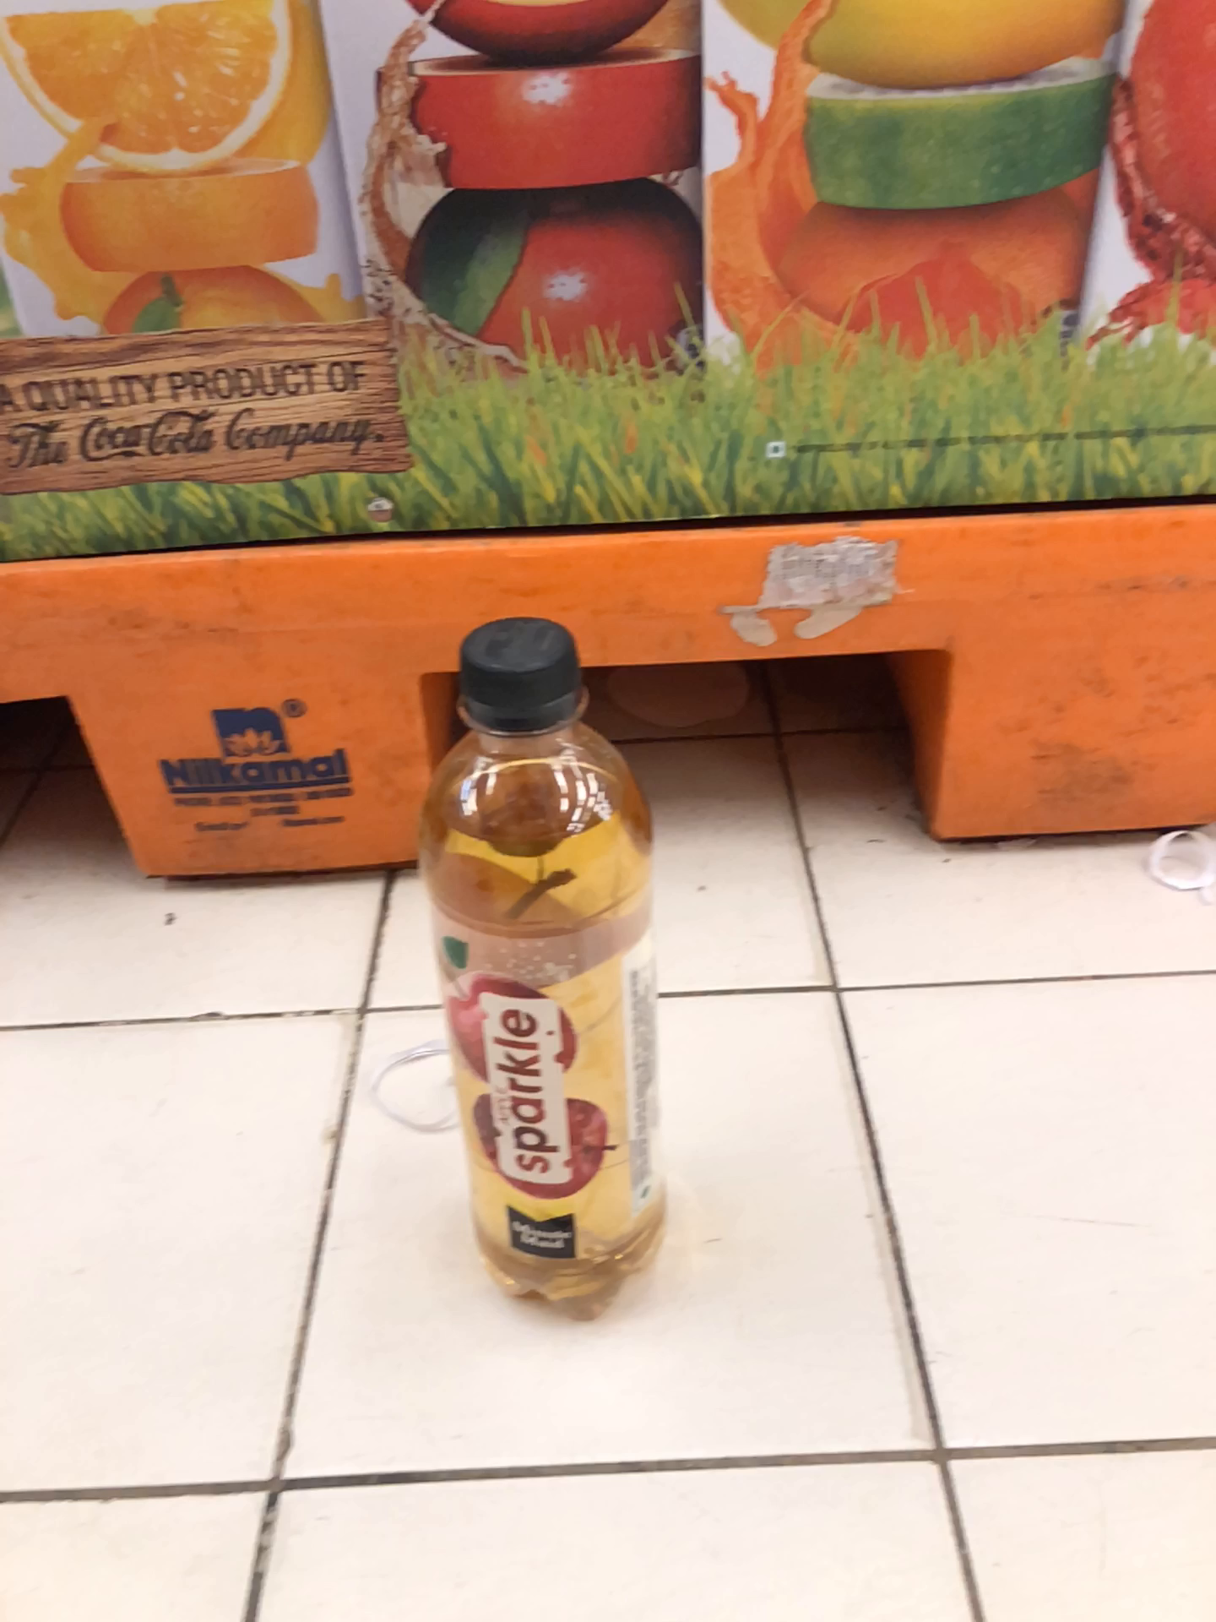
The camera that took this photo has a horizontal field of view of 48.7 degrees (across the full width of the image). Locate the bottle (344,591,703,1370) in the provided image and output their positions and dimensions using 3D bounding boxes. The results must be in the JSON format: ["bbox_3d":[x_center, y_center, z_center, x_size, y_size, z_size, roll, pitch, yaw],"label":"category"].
[{"bbox_3d":[-0.014,0.060,0.404,0.070,0.238,0.070,-3,35,2],"label":"bottle"}]
